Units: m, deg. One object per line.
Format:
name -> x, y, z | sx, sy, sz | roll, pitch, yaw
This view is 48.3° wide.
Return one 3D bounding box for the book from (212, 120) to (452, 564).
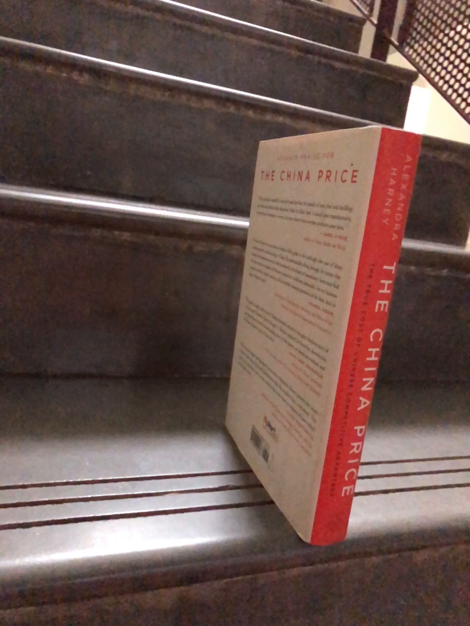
book -> 0.043, 0.003, 0.358 | 0.040, 0.239, 0.180 | 3, 14, -20
